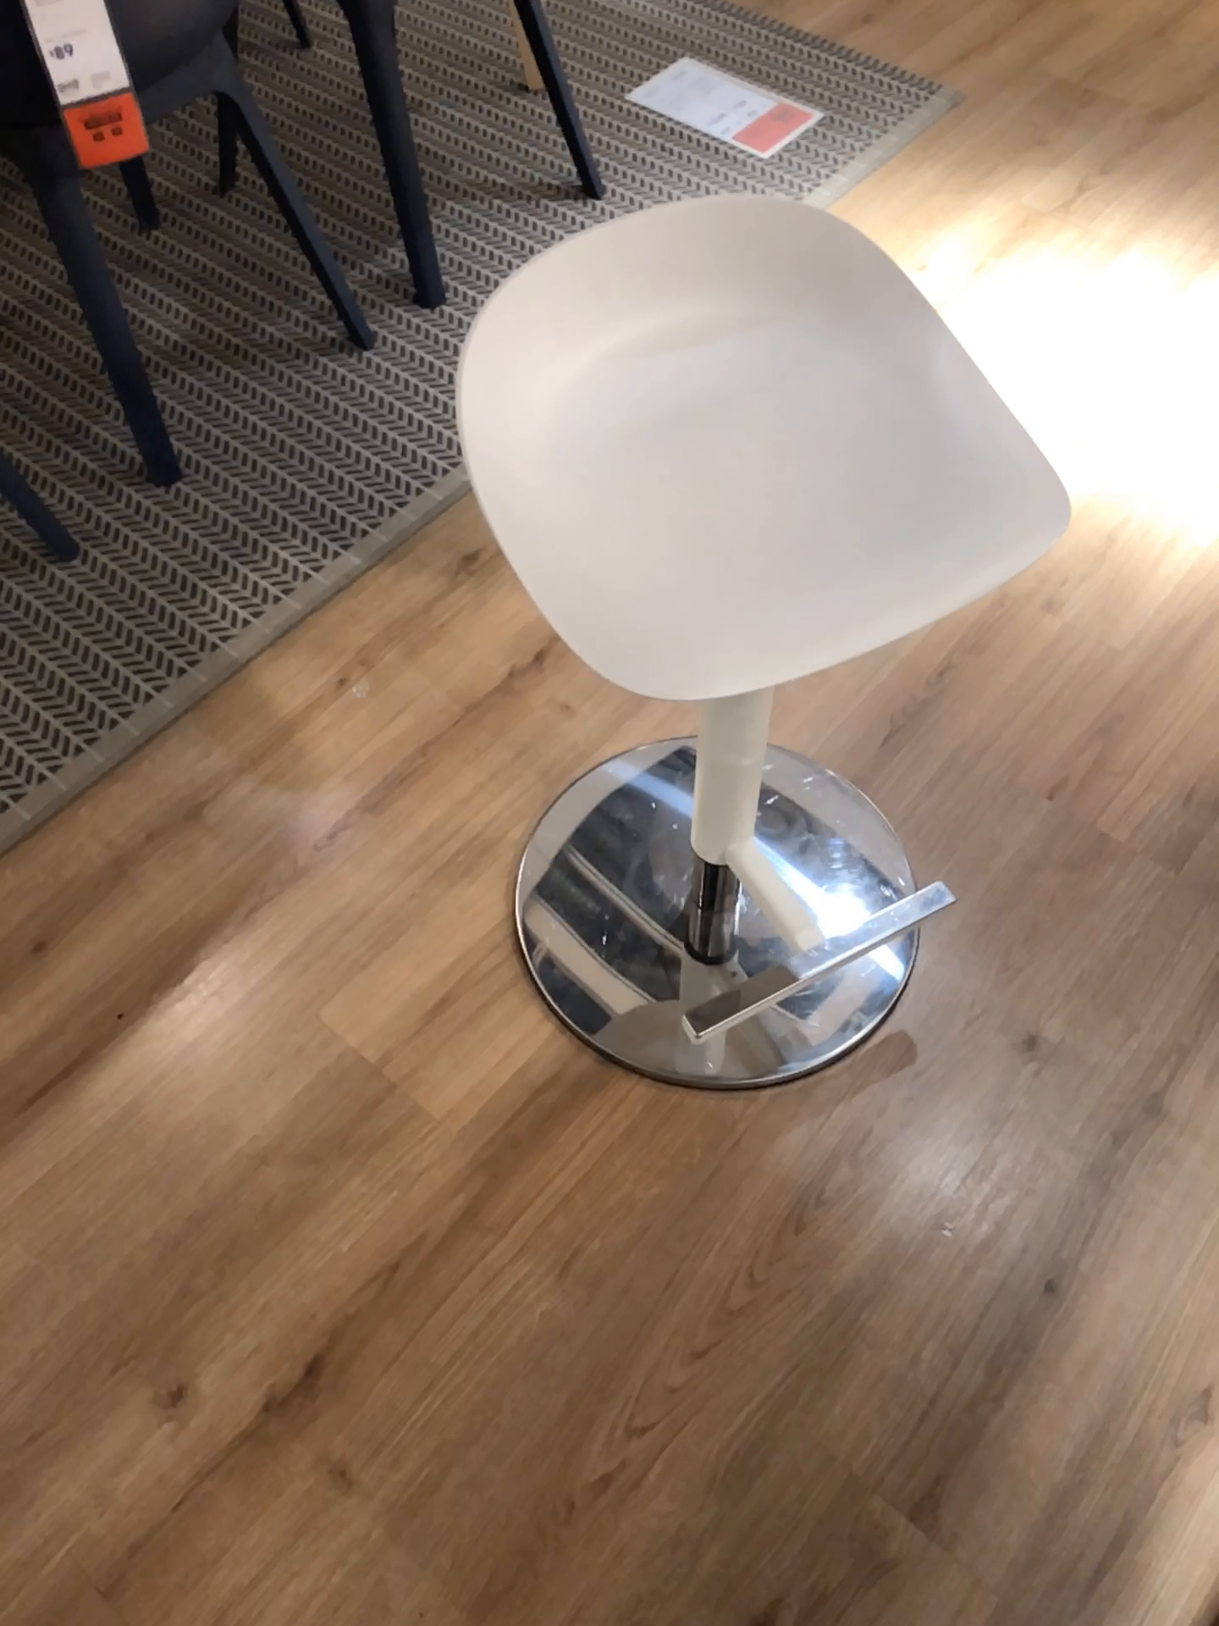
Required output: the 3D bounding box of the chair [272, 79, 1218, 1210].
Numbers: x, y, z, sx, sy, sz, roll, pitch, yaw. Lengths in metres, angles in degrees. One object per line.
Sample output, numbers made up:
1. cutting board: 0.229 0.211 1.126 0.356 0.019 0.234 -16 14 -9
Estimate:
1. chair: 0.092 -0.093 1.104 0.440 0.698 0.451 -28 59 -18
